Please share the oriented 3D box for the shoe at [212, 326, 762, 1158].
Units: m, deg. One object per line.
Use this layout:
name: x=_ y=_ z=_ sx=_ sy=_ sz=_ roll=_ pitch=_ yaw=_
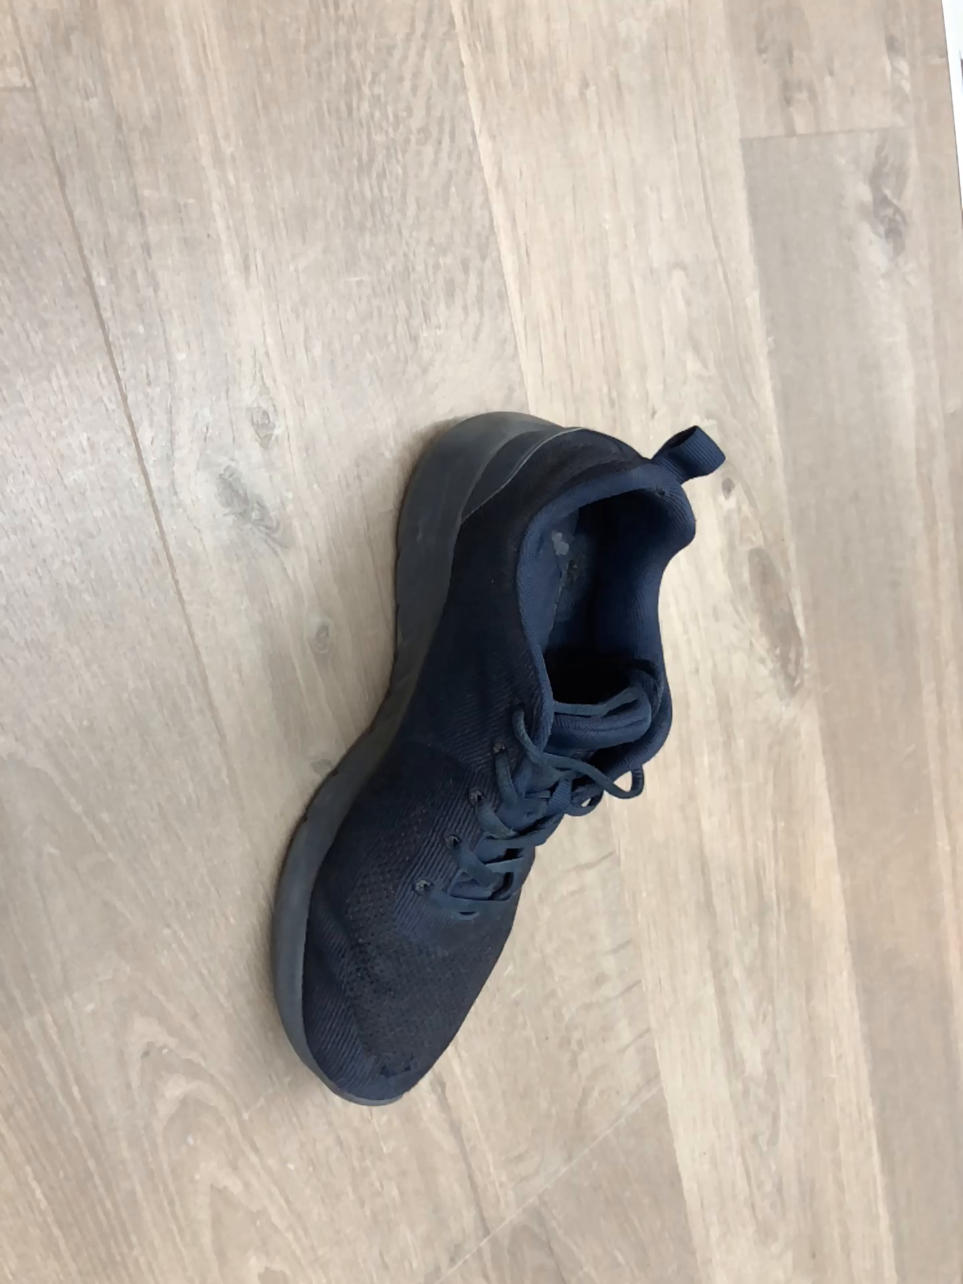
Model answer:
shoe: x=0.005 y=0.037 z=0.430 sx=0.100 sy=0.109 sz=0.290 roll=23 pitch=79 yaw=-38
